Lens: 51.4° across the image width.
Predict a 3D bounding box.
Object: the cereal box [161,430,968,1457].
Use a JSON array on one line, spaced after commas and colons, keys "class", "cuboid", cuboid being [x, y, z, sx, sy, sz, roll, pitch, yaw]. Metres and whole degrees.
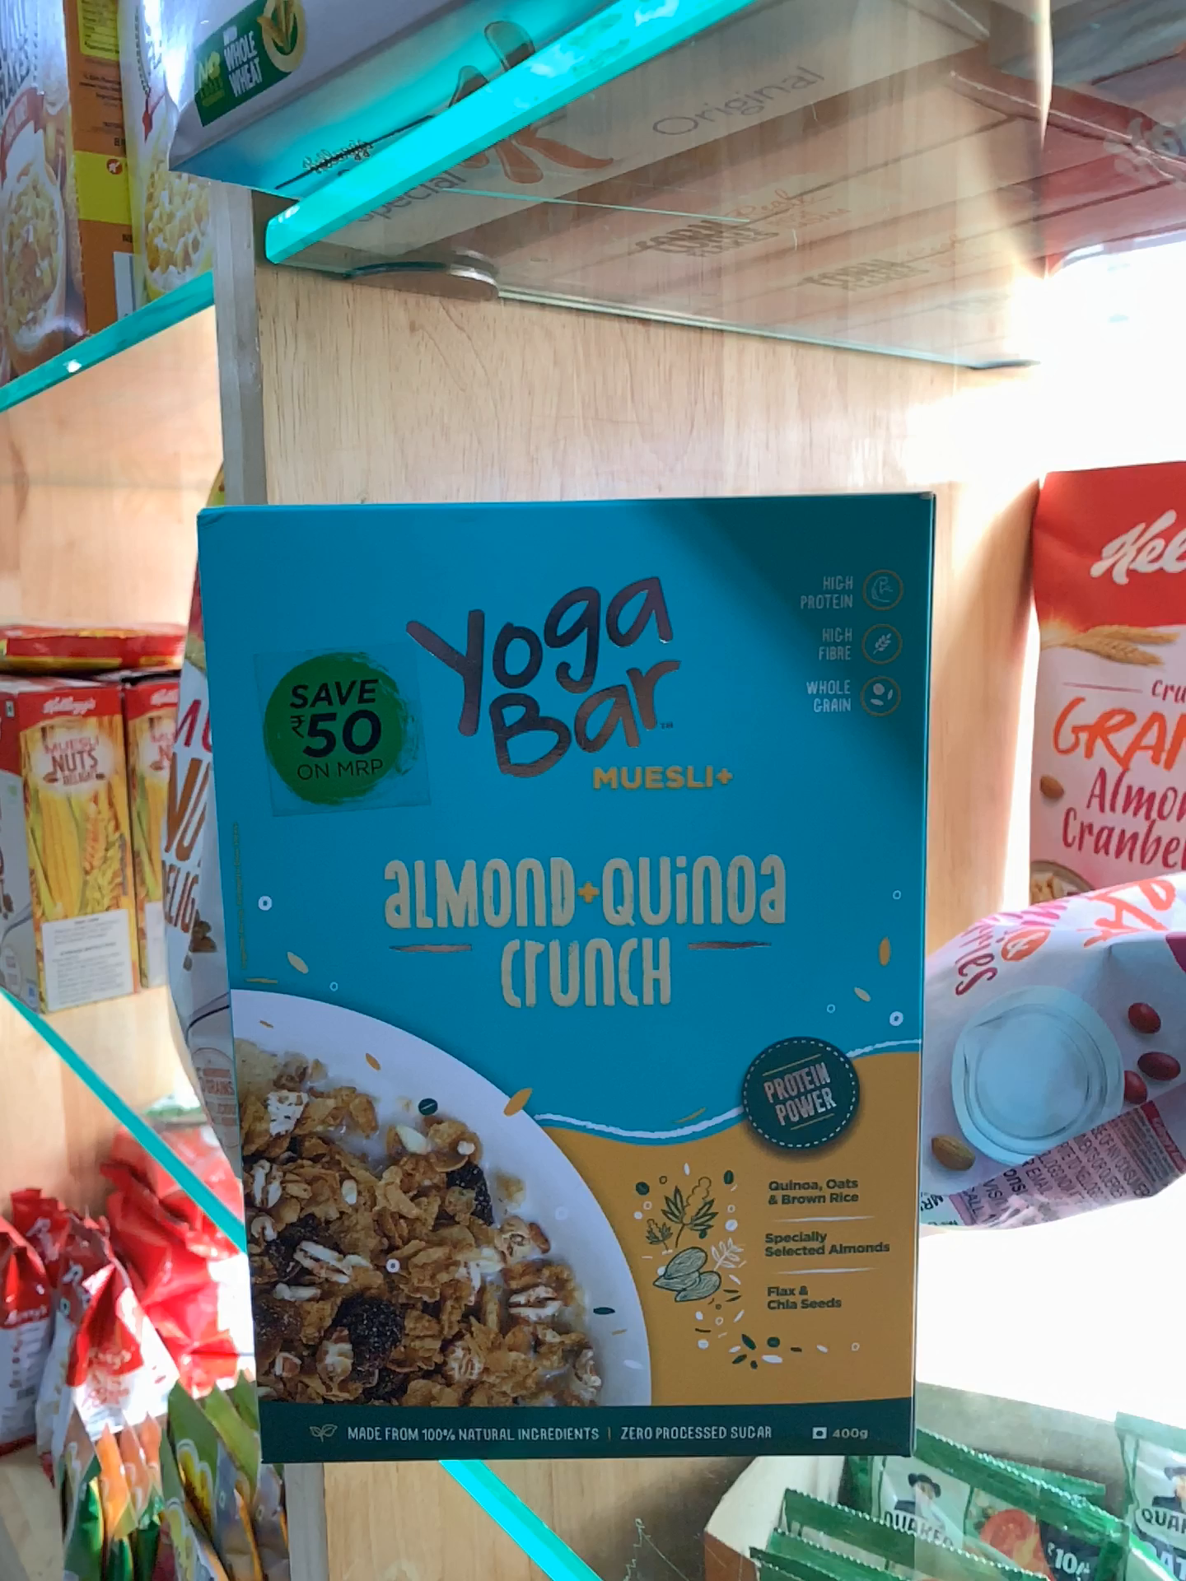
[{"class": "cereal box", "cuboid": [-0.004, 0.034, 0.289, 0.160, 0.219, 0.060, -1, 8, 0]}]
